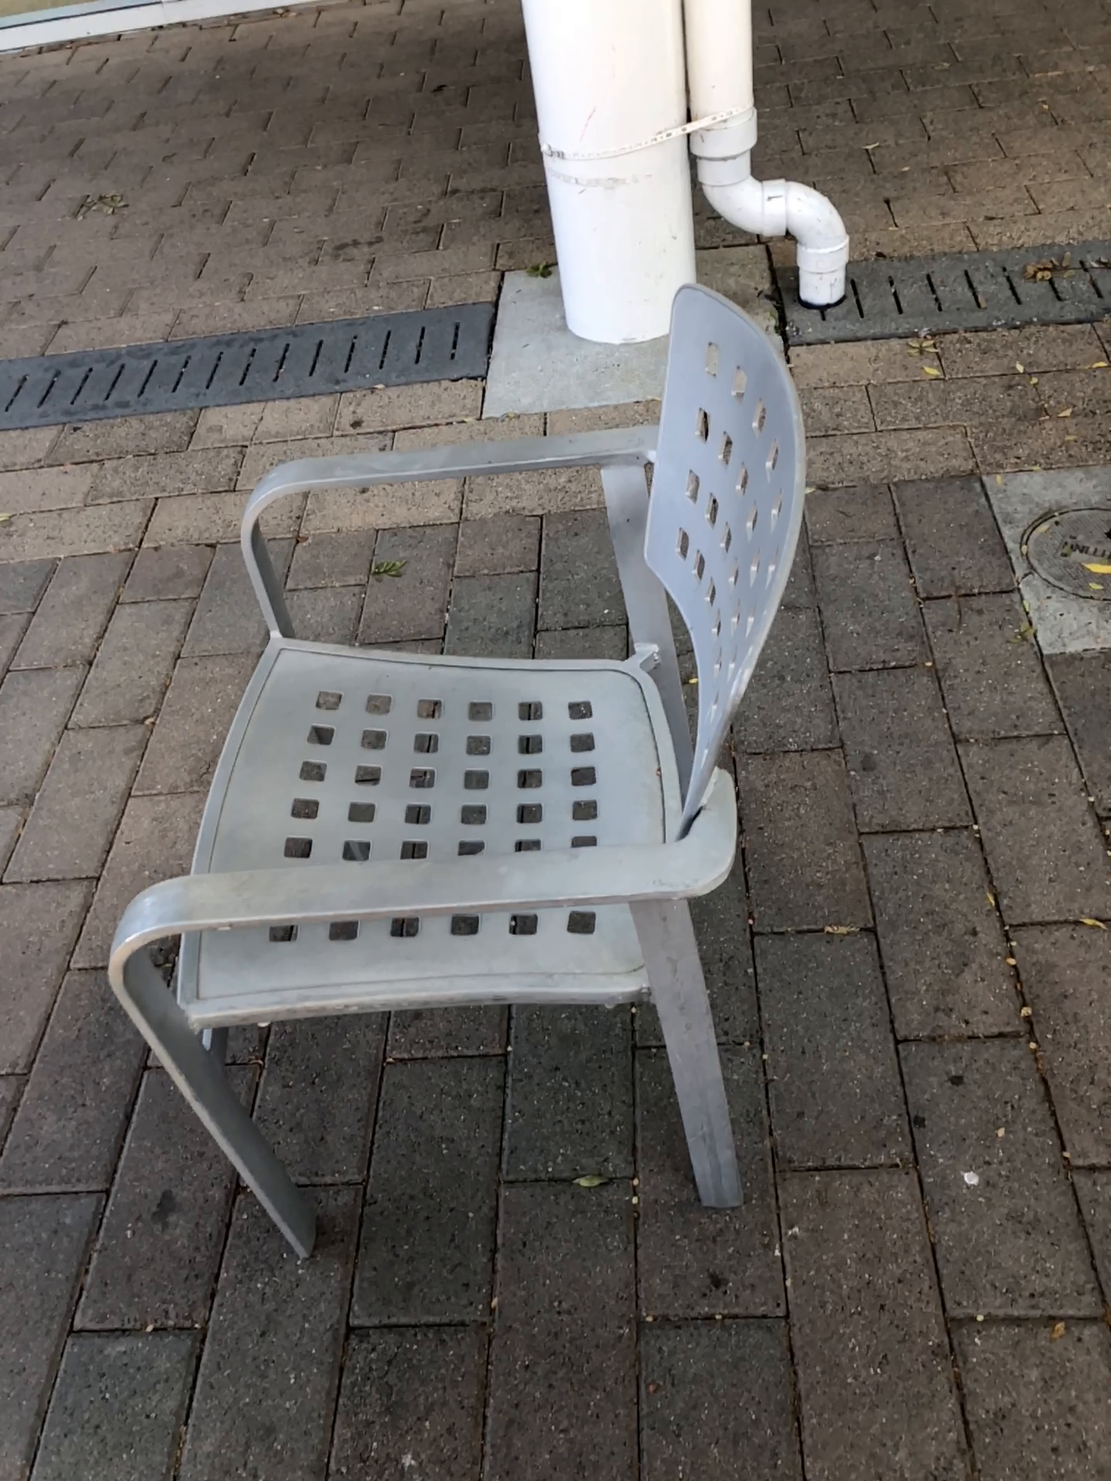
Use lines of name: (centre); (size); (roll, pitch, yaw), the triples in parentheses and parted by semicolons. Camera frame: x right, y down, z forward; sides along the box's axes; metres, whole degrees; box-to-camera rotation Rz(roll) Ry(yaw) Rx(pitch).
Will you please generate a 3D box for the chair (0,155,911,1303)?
chair: (-0.094, 0.025, 1.103); (0.590, 0.776, 0.633); (-4, 46, 3)
